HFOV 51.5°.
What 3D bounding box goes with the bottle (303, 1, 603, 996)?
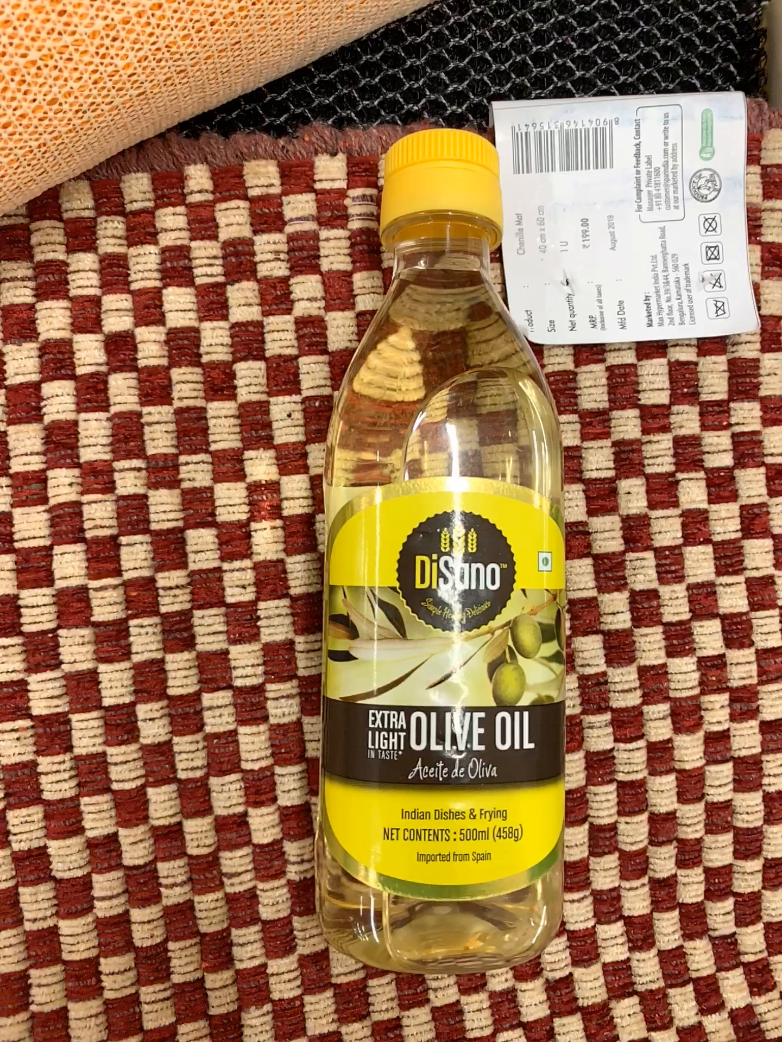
[{"bbox_3d":[0.013,-0.006,0.221,0.070,0.060,0.230,1,88,-7],"label":"bottle"}]
